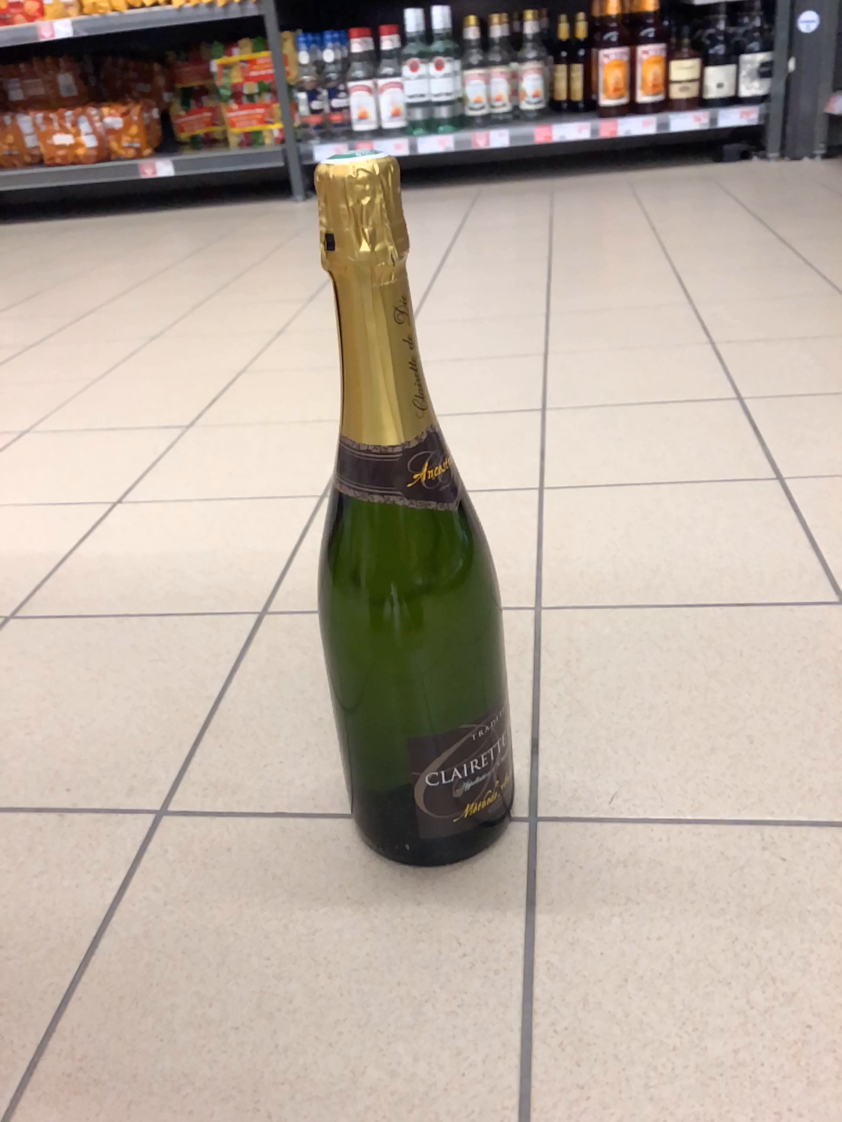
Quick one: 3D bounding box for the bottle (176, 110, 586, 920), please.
[{"bbox_3d":[-0.001,-0.013,0.404,0.100,0.318,0.101,-5,28,3],"label":"bottle"}]
